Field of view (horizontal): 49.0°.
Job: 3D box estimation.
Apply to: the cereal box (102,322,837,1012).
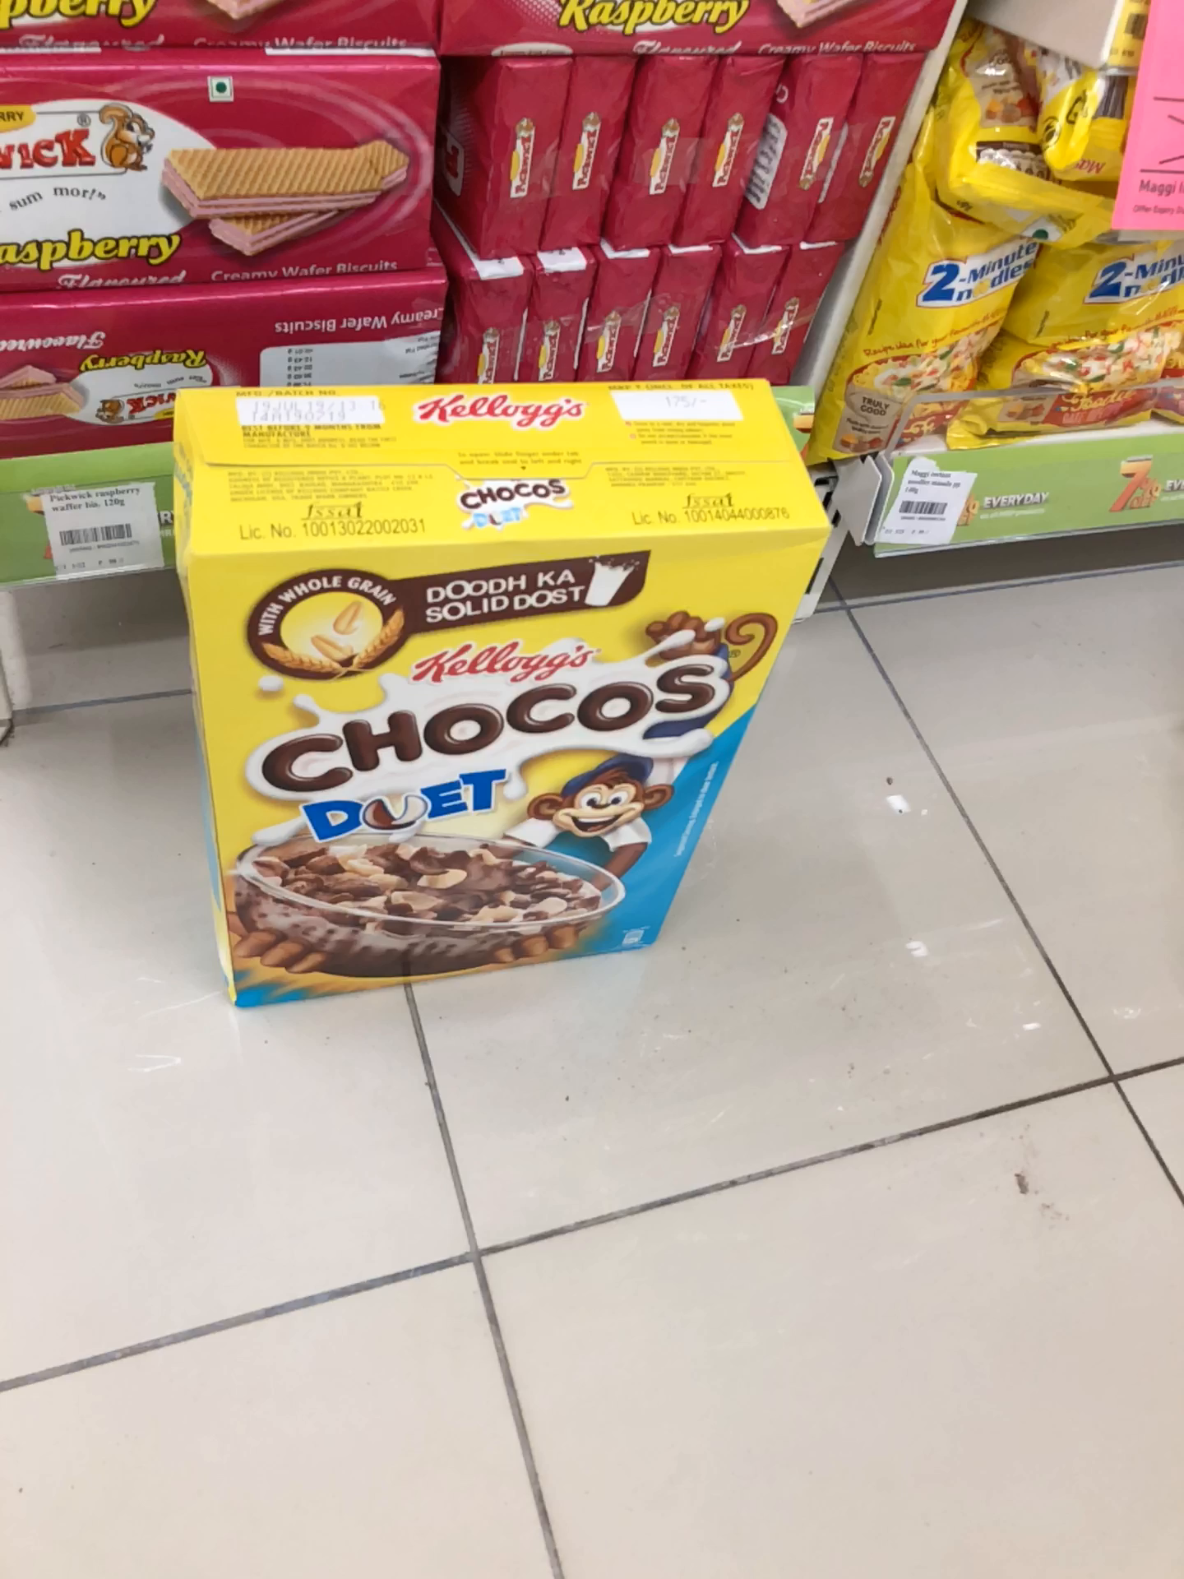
[{"bbox_3d":[-0.051,-0.028,0.456,0.190,0.258,0.070,-7,55,-16],"label":"cereal box"}]
